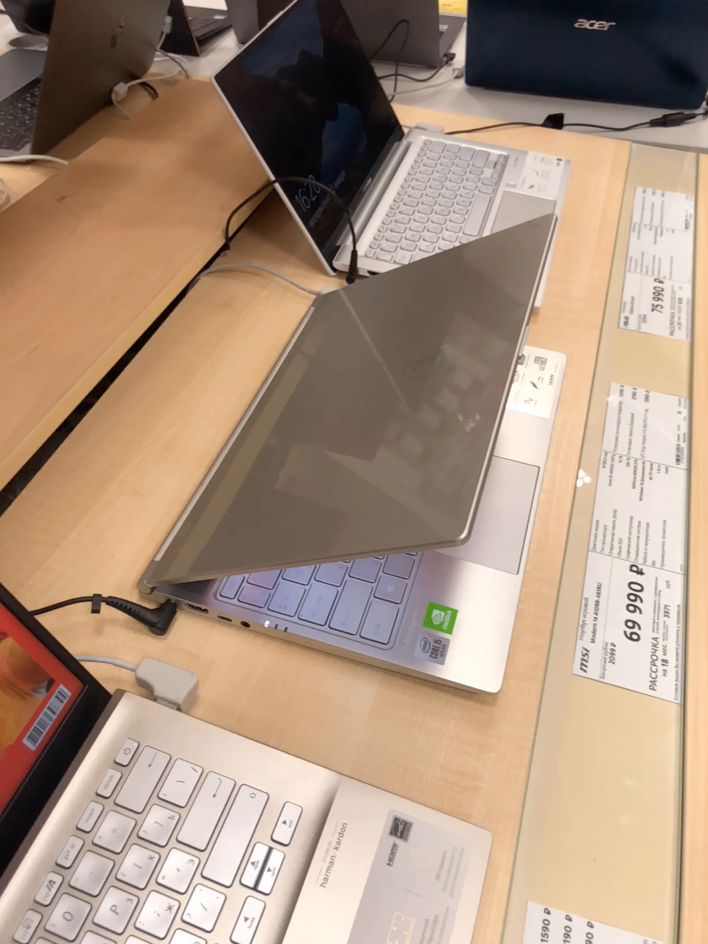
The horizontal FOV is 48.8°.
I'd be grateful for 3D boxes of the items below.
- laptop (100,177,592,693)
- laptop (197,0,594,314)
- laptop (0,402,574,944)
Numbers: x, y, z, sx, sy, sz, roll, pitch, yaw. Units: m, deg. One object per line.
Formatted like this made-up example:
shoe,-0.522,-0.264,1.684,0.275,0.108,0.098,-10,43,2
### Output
laptop,0.023,-0.053,0.520,0.216,0.113,0.322,14,47,10
laptop,0.061,-0.350,0.778,0.300,0.154,0.327,14,48,7
laptop,-0.127,0.175,0.232,0.314,0.169,0.311,15,46,10
